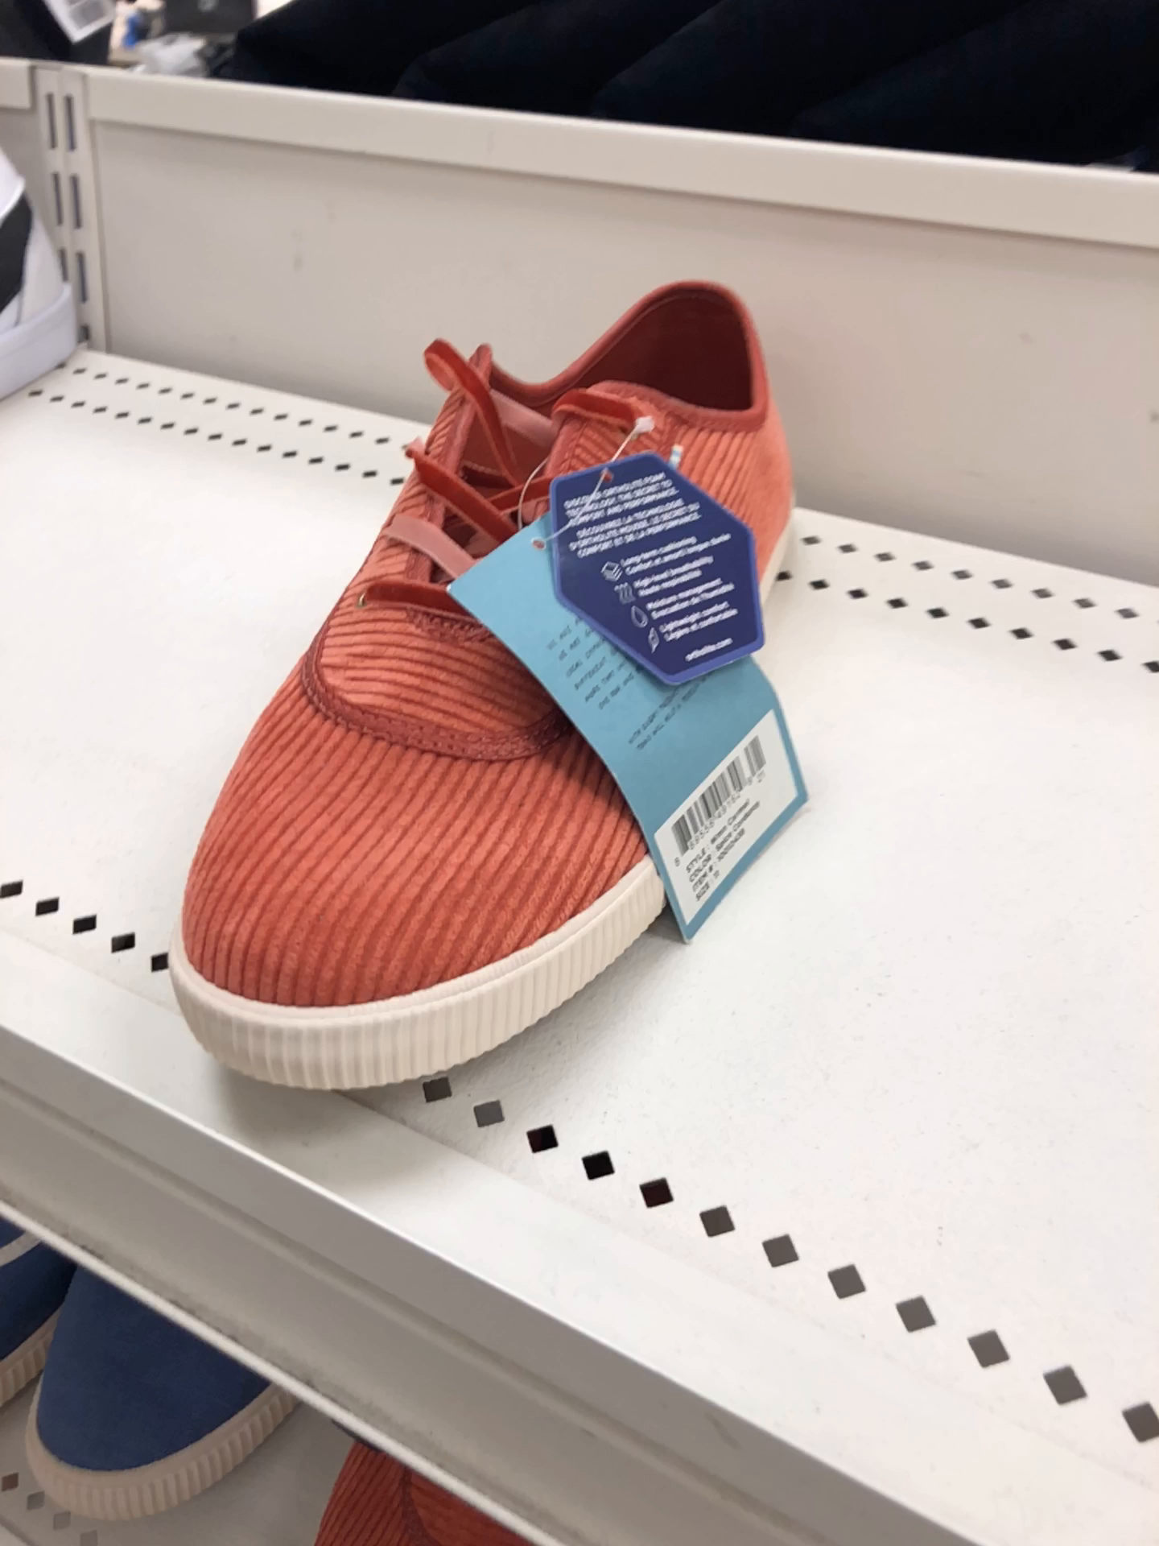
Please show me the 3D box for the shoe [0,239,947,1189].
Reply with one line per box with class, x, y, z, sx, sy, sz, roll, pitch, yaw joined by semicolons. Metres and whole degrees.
shoe;0.011;-0.057;0.347;0.100;0.089;0.323;15;38;19
